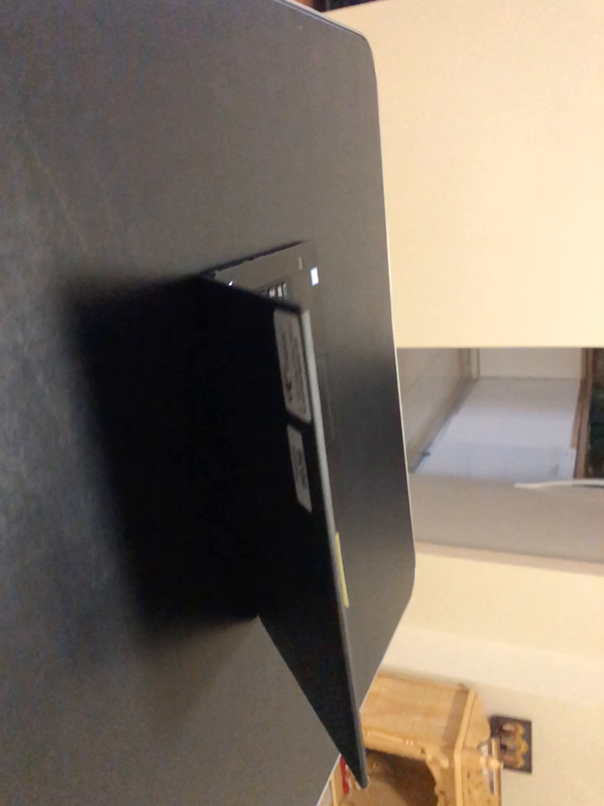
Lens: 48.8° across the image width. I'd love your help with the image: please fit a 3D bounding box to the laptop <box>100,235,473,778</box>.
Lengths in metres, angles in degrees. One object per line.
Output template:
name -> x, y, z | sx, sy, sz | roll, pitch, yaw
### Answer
laptop -> 0.036, 0.042, 0.589 | 0.369, 0.140, 0.319 | -39, 126, -58
